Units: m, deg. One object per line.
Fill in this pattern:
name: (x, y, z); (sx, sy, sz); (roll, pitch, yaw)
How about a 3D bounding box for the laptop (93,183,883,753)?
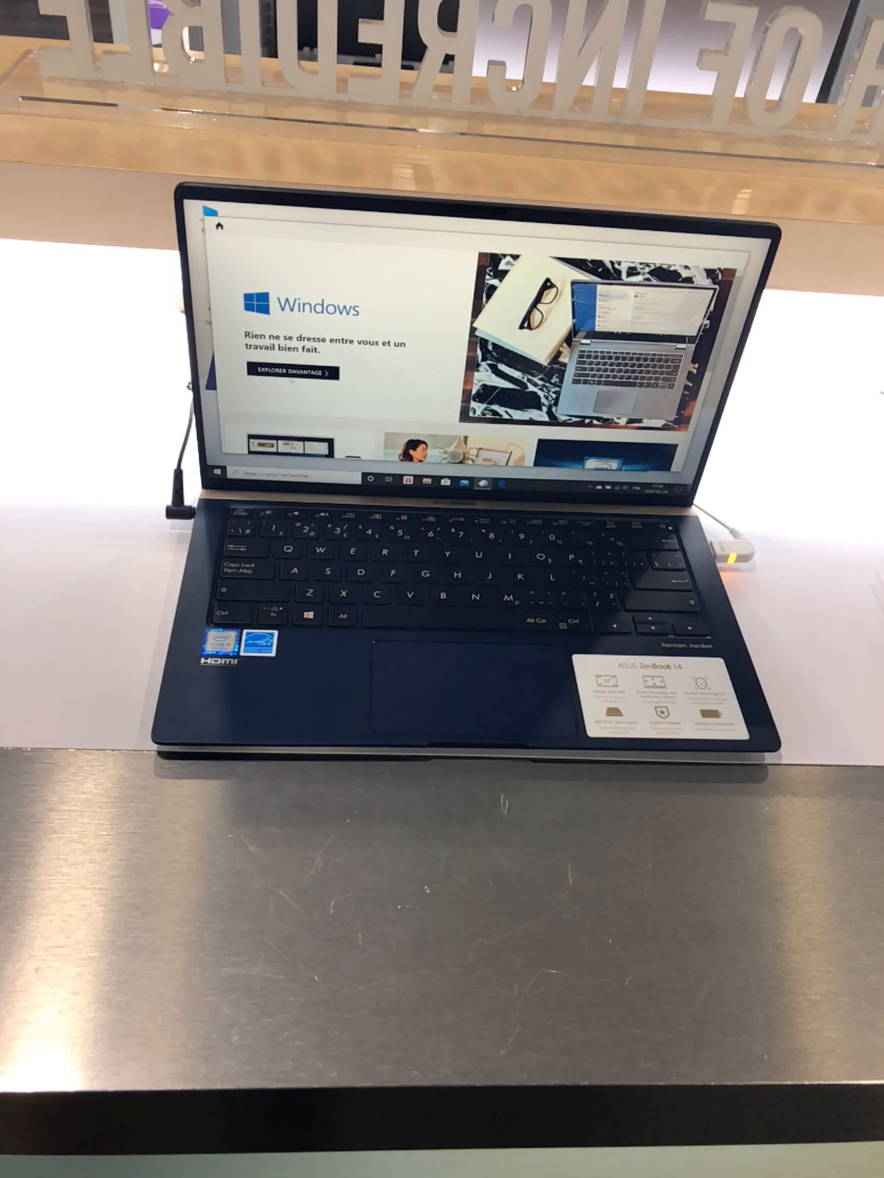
laptop: (0.021, -0.055, 0.468); (0.301, 0.182, 0.192); (1, 43, -7)
